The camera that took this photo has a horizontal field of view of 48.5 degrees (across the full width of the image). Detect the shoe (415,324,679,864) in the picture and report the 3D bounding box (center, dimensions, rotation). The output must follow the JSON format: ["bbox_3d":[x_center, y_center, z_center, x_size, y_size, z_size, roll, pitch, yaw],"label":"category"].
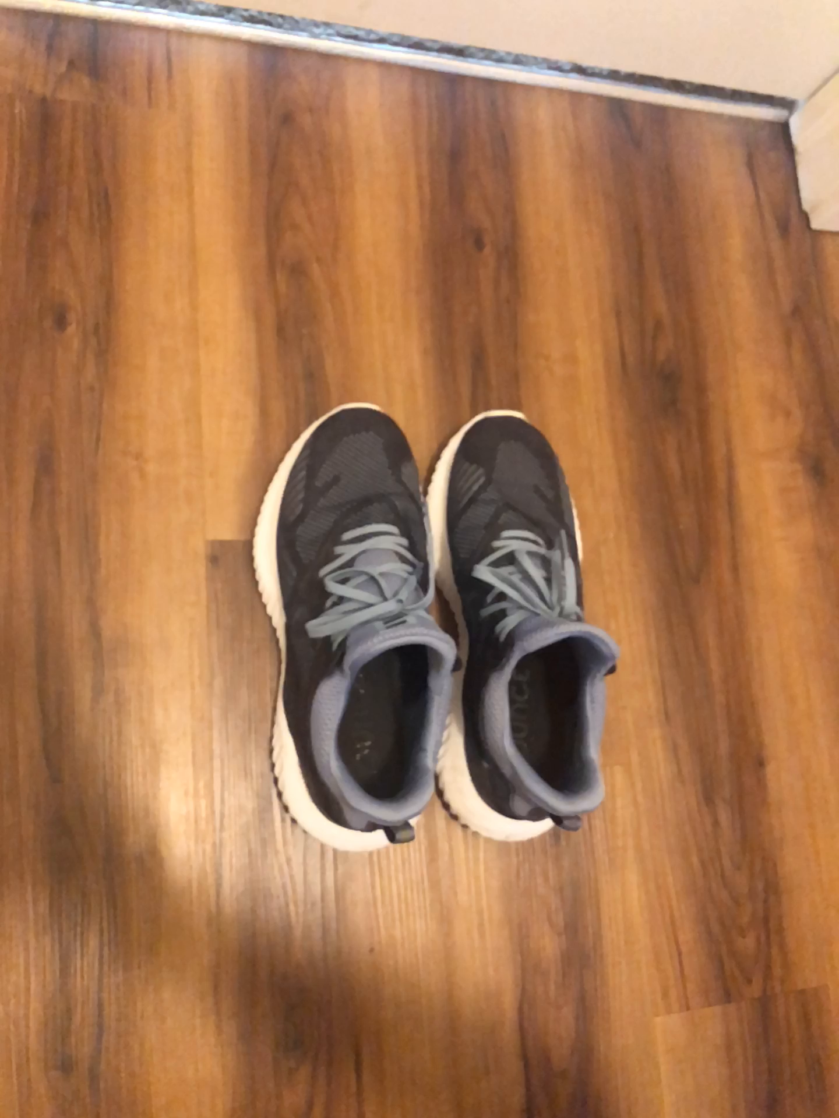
[{"bbox_3d":[0.080,0.029,0.647,0.131,0.130,0.334,4,78,-15],"label":"shoe"}]

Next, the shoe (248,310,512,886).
[{"bbox_3d":[-0.037,0.026,0.615,0.133,0.135,0.333,0,79,-16],"label":"shoe"}]
